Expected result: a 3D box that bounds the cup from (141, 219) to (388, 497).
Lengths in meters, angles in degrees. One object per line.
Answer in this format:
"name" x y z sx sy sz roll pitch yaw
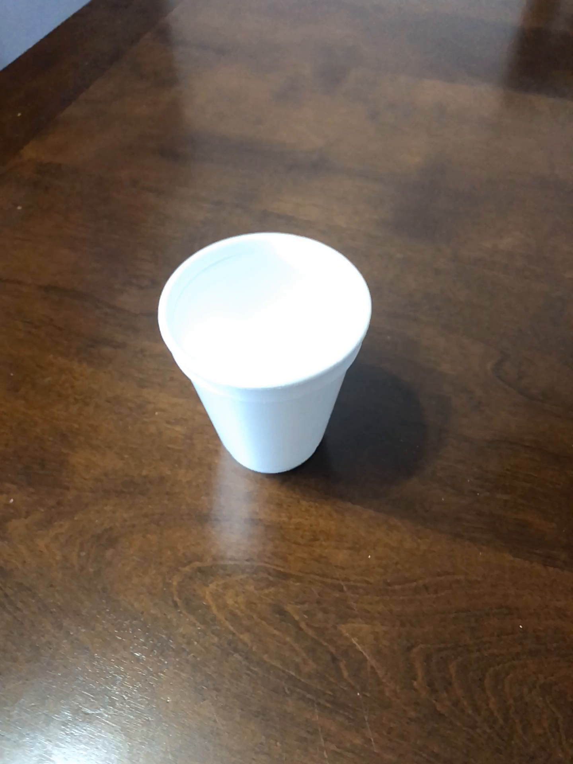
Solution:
"cup" -0.005 -0.009 0.264 0.080 0.080 0.080 -1 52 1
